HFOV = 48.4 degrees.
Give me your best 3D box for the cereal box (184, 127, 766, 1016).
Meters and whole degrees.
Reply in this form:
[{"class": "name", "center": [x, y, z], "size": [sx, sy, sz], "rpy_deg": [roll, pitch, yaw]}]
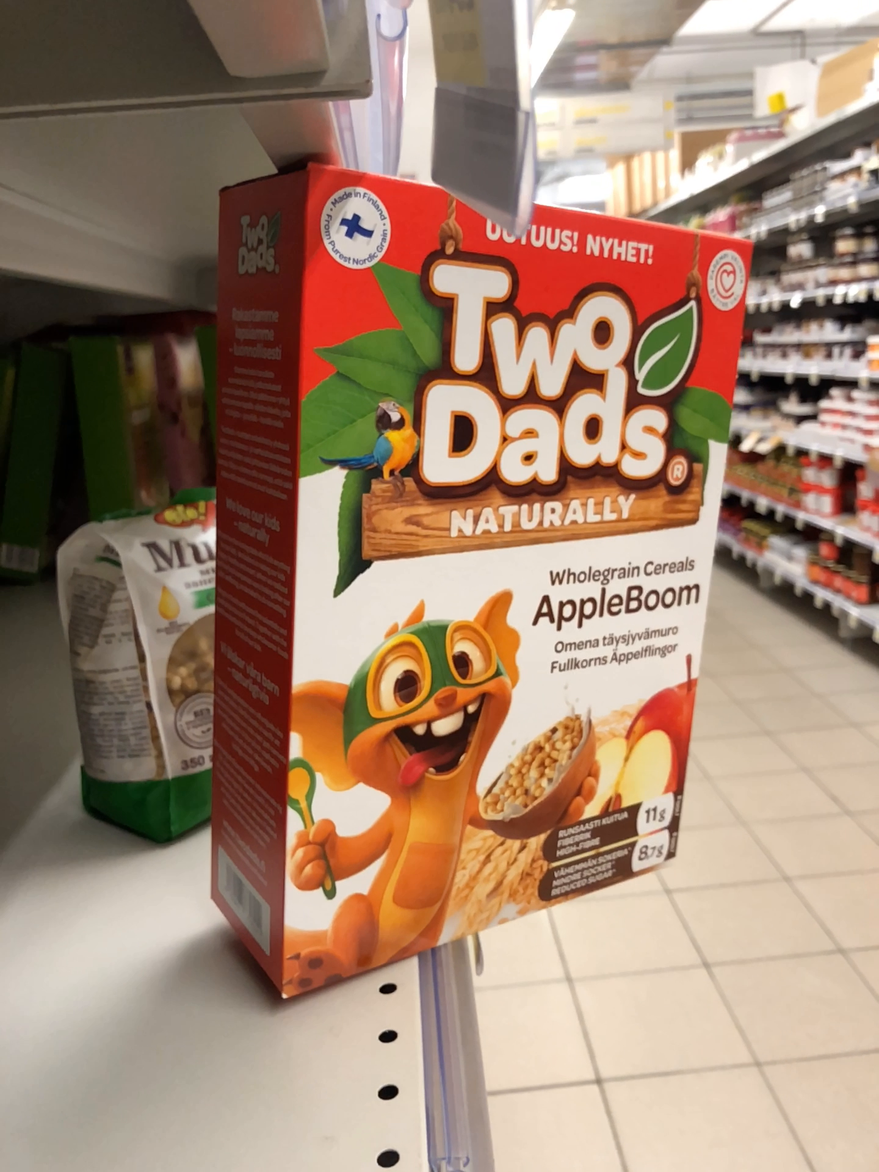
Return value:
[{"class": "cereal box", "center": [0.013, -0.008, 0.379], "size": [0.200, 0.269, 0.080], "rpy_deg": [-5, 14, -35]}]
